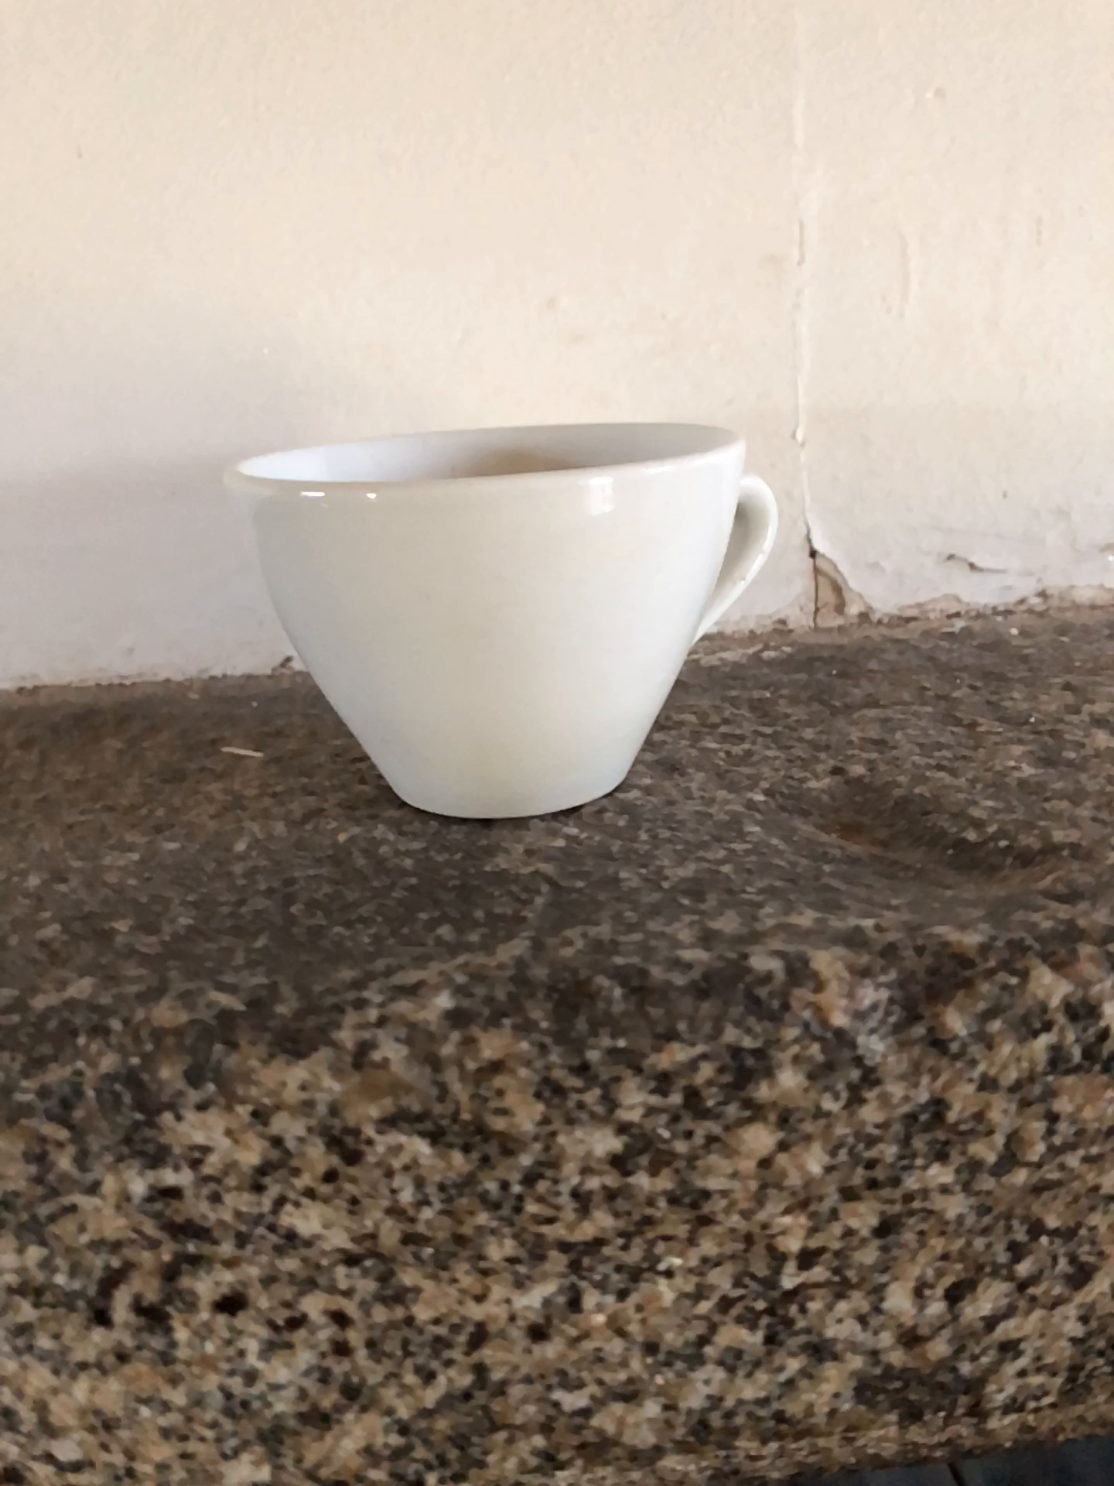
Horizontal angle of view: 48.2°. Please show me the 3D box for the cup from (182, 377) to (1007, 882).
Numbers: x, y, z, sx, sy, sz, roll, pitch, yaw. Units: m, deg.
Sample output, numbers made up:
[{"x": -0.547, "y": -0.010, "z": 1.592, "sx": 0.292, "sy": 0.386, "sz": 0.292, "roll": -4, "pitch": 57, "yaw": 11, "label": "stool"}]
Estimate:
[{"x": 0.005, "y": -0.028, "z": 0.201, "sx": 0.100, "sy": 0.050, "sz": 0.080, "roll": -16, "pitch": 22, "yaw": -30, "label": "cup"}]
